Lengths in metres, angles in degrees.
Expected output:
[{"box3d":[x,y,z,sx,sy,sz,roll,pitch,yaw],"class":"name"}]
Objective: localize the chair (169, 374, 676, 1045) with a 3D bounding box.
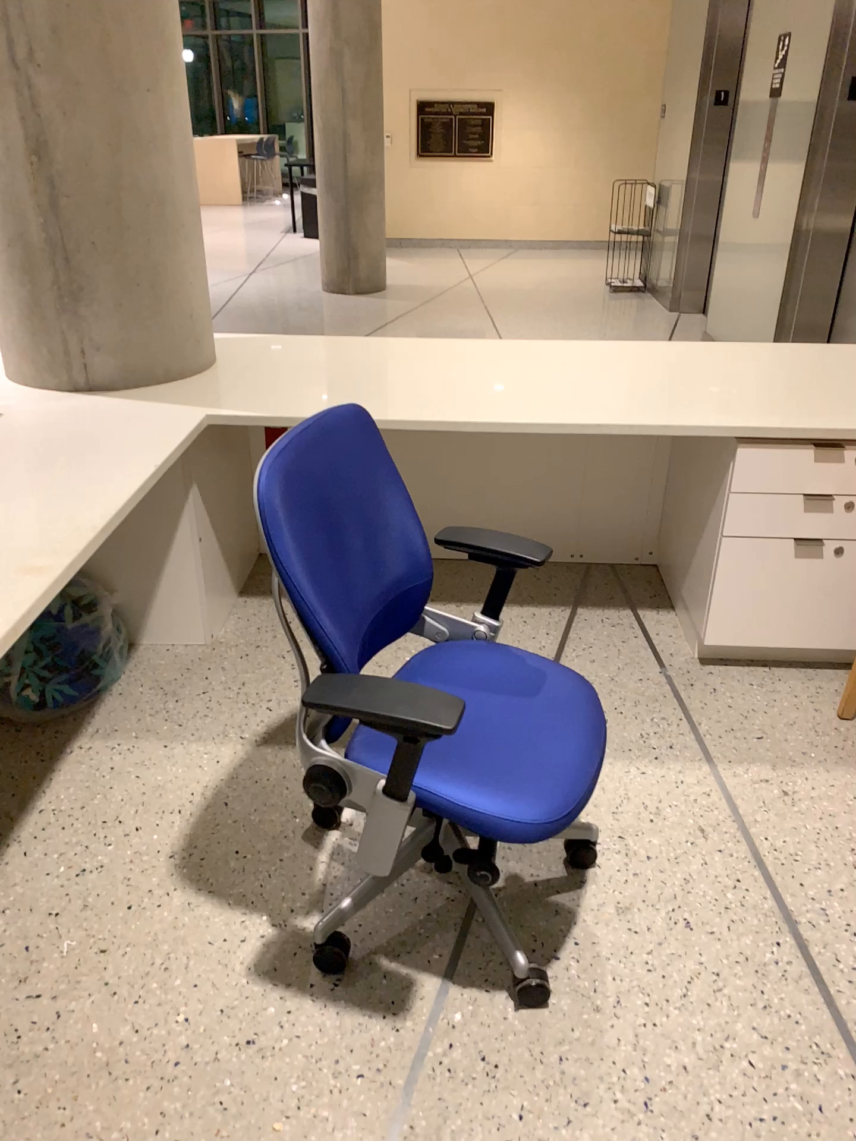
[{"box3d":[0.050,0.186,1.603,0.647,0.880,0.691,8,28,15],"class":"chair"}]
